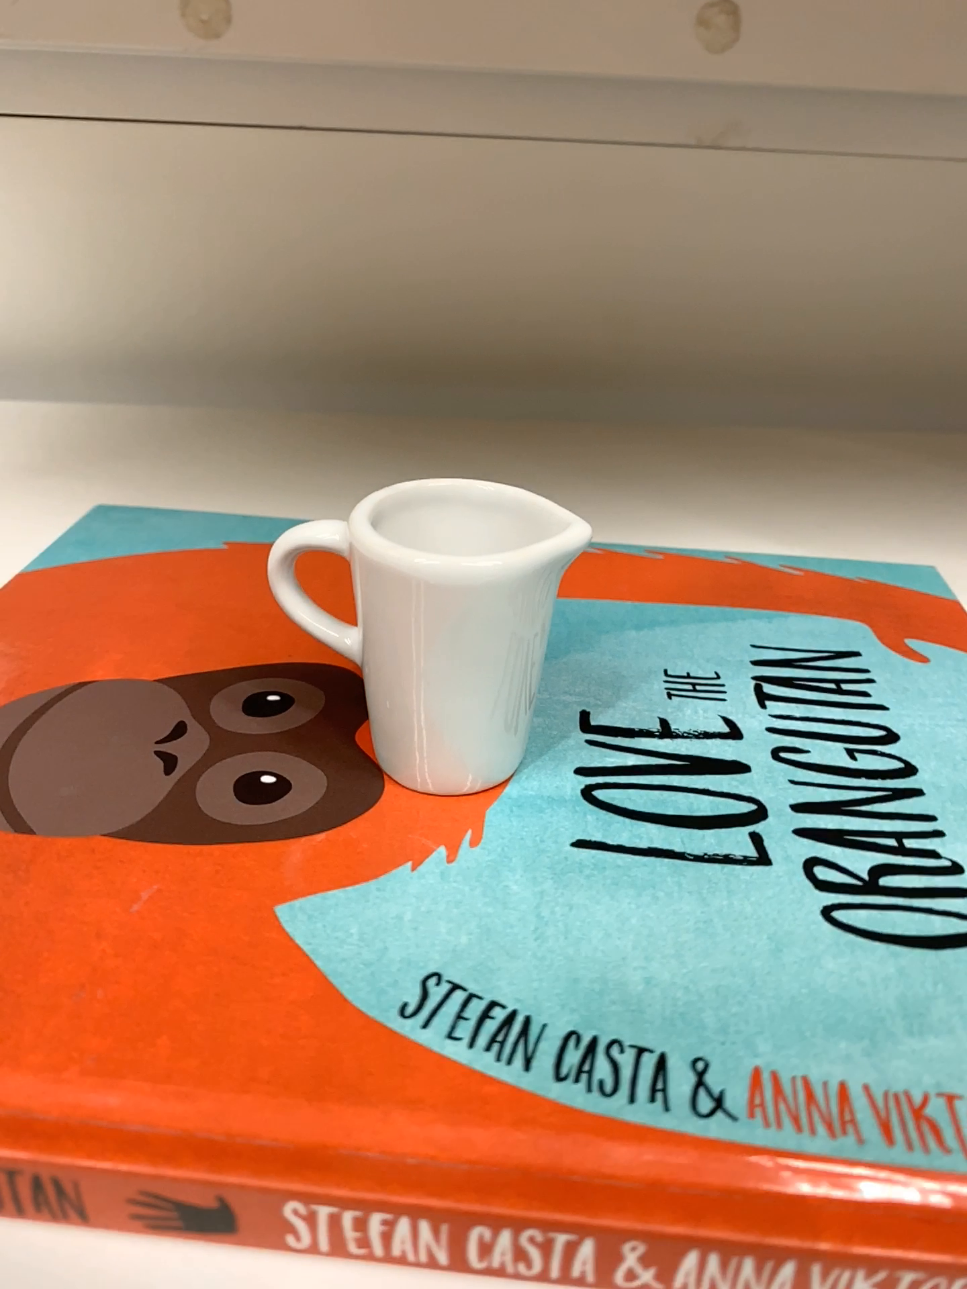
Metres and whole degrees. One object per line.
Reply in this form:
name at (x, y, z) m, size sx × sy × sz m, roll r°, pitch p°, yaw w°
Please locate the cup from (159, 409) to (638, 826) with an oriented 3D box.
cup at (-0.012, -0.008, 0.186) m, size 0.070 × 0.050 × 0.050 m, roll 9°, pitch 30°, yaw 12°
